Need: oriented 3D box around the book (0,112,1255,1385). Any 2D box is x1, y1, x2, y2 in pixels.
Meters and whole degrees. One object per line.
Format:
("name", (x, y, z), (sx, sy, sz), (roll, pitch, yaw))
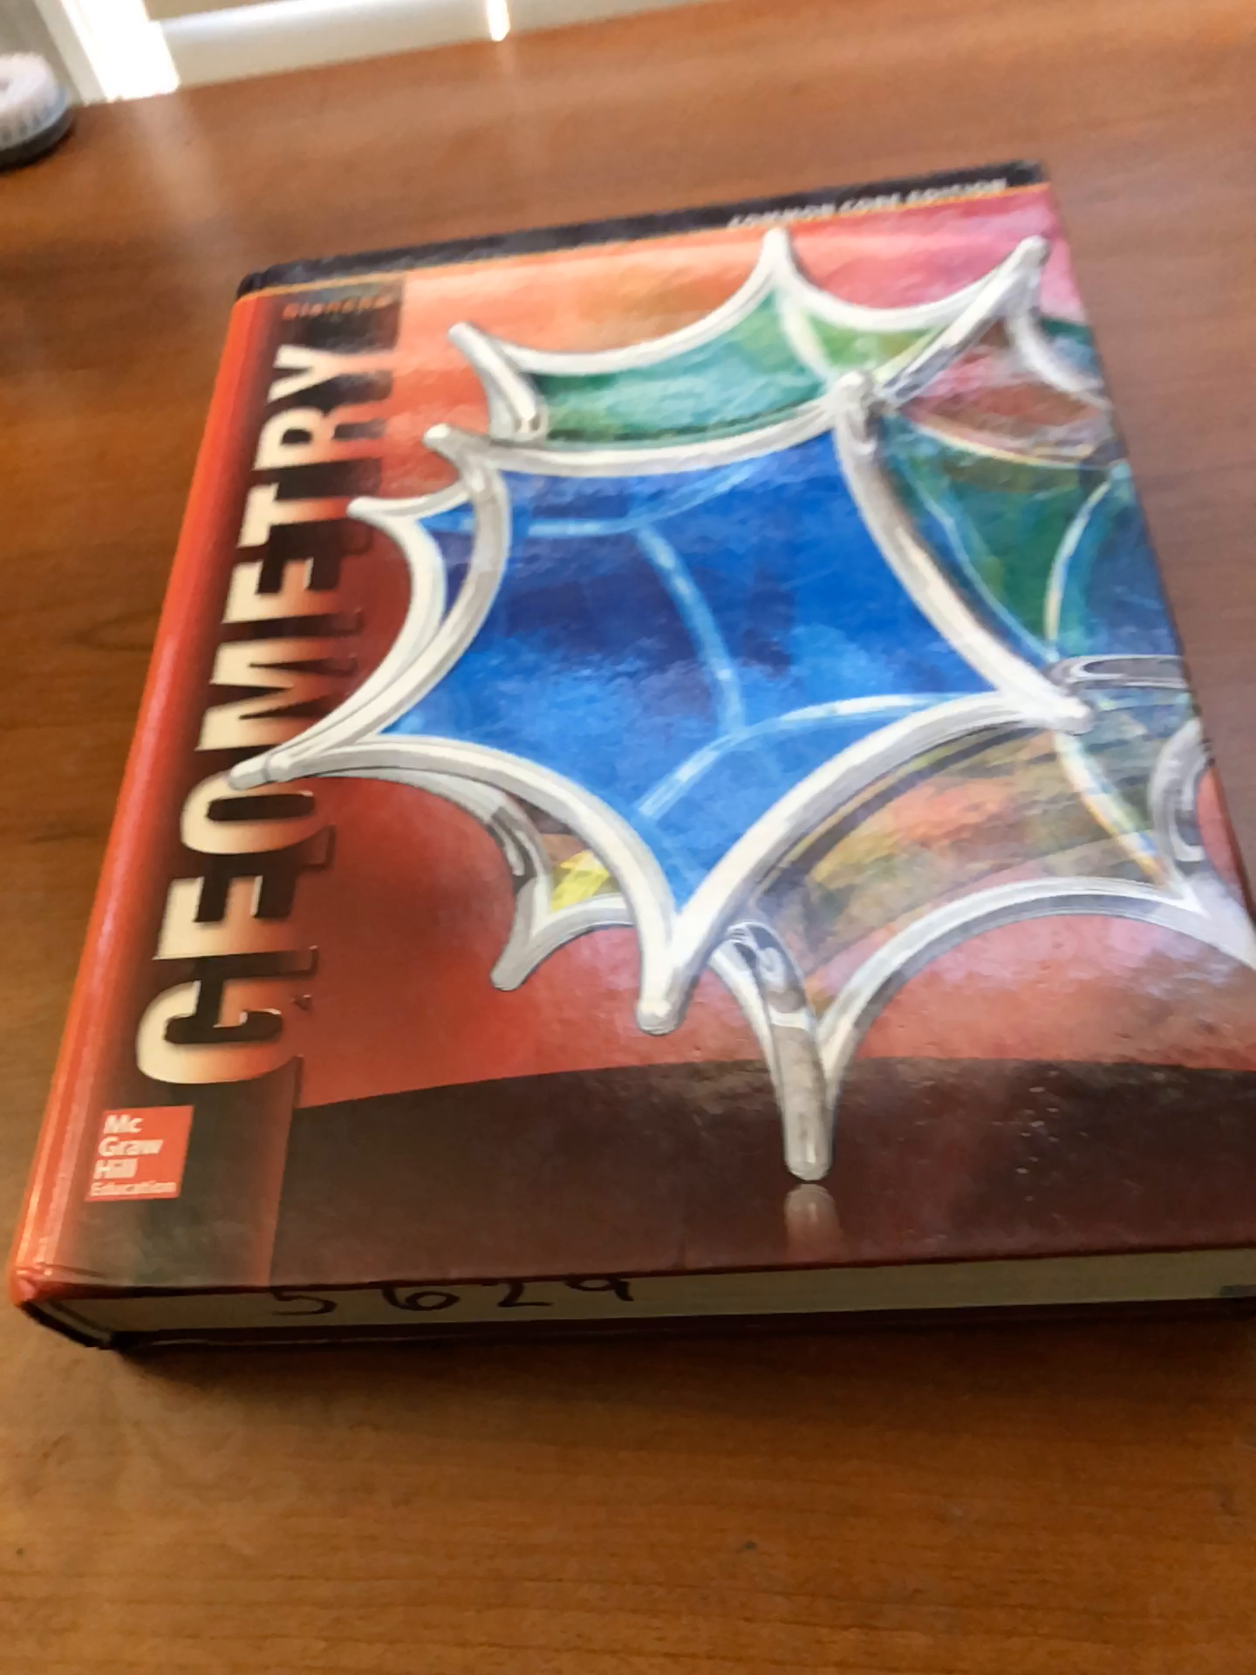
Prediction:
("book", (0.004, -0.044, 0.327), (0.229, 0.050, 0.311), (-4, 56, 7))
